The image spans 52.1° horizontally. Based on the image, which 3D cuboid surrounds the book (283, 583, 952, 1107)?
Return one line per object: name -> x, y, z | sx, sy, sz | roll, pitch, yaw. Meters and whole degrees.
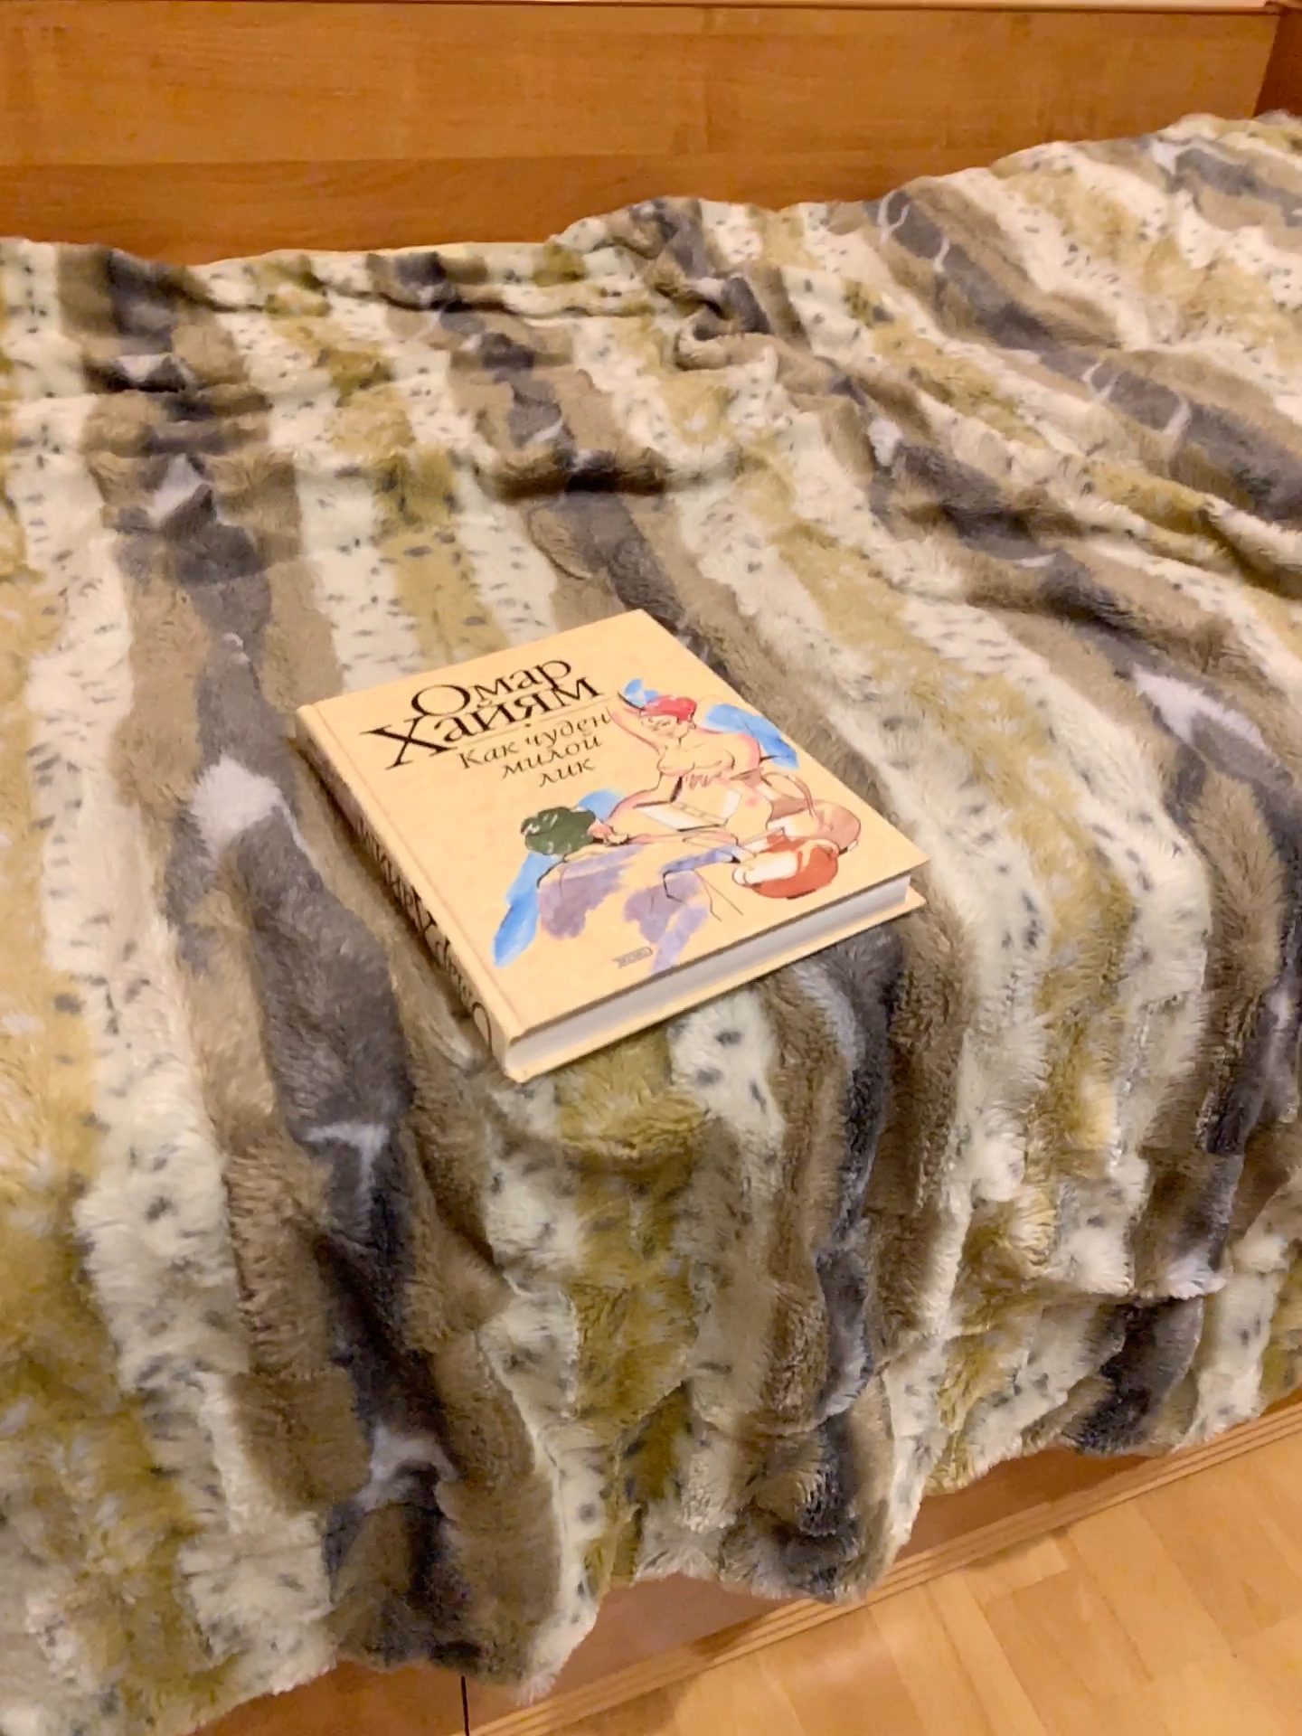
book -> -0.023, -0.028, 0.512 | 0.170, 0.030, 0.222 | -21, 44, -21
